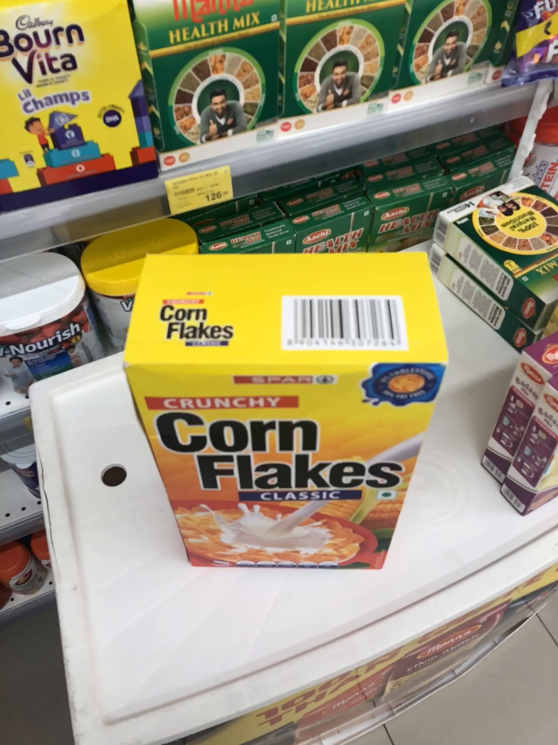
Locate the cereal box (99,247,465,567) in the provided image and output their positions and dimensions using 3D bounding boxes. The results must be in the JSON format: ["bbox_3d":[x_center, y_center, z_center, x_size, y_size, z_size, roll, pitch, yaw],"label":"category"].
[{"bbox_3d":[0.004,0.053,0.488,0.200,0.319,0.090,1,53,1],"label":"cereal box"}]
